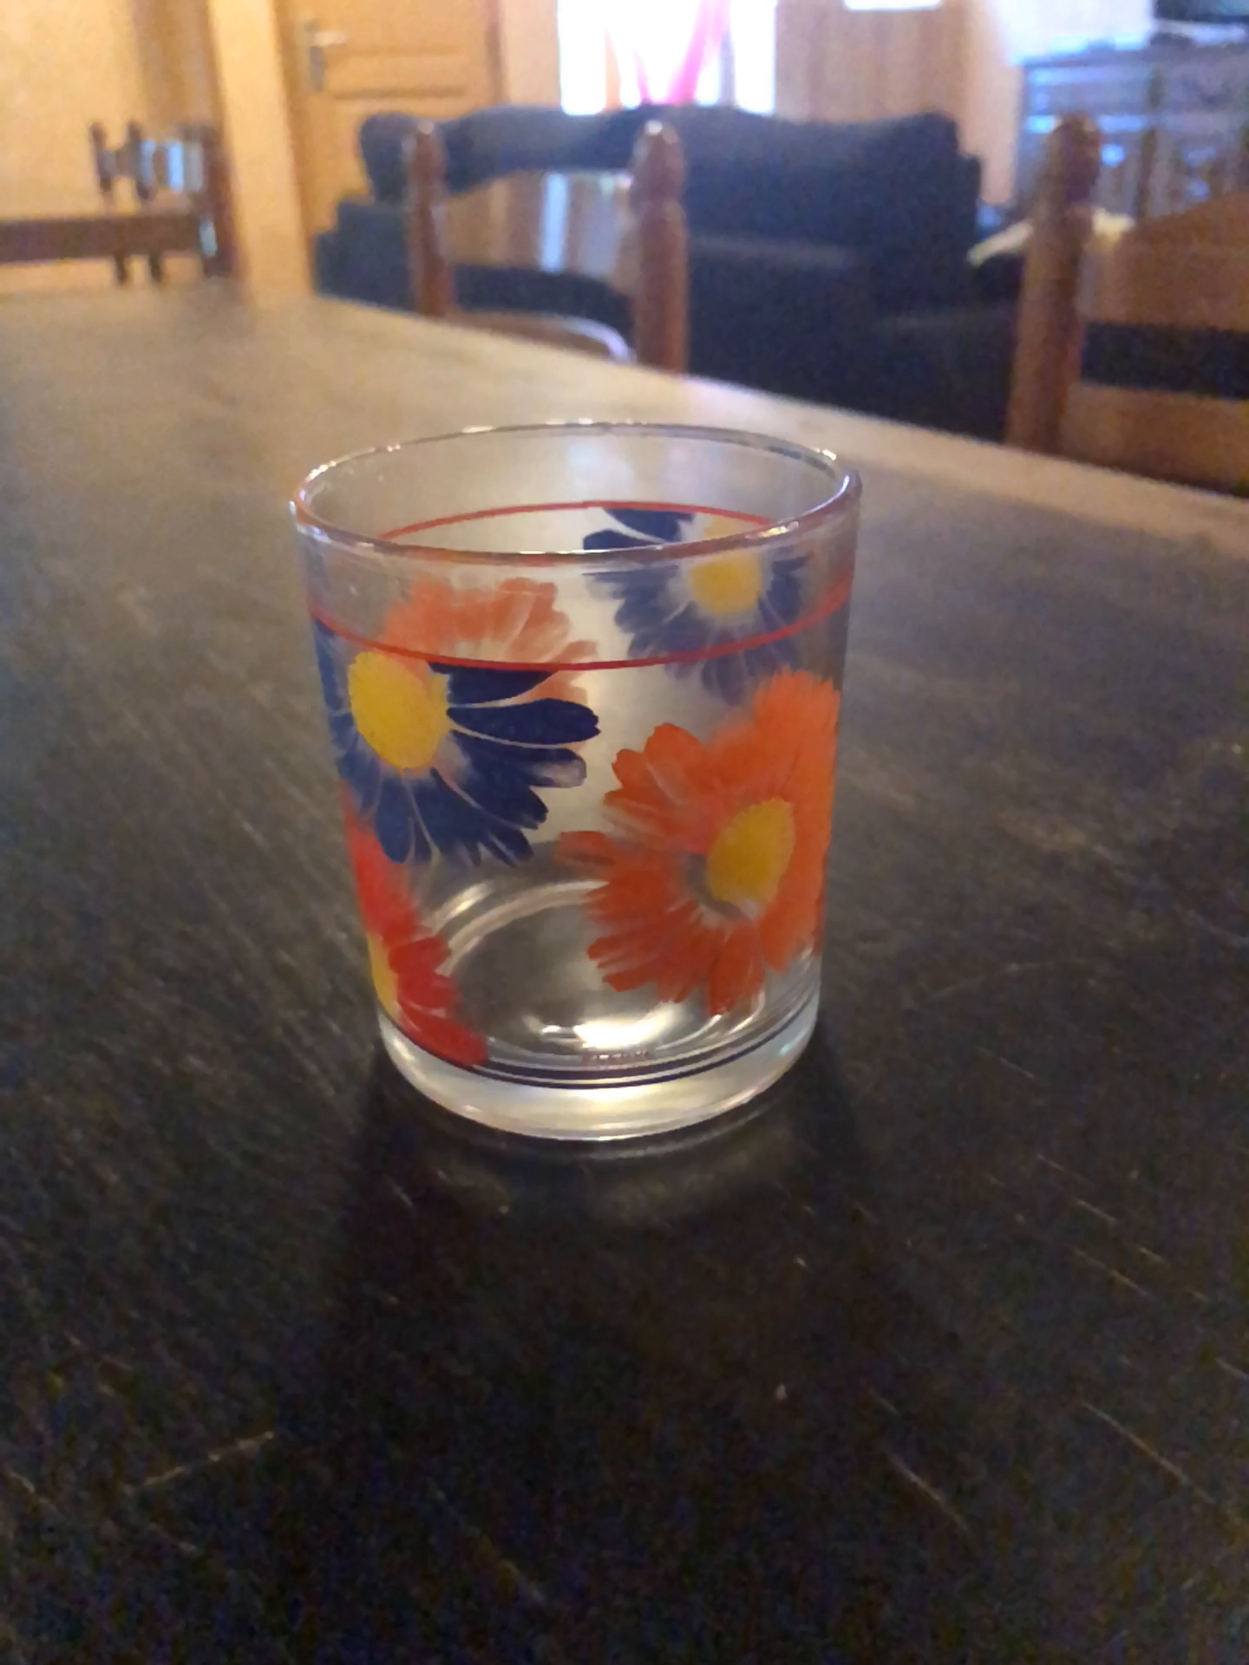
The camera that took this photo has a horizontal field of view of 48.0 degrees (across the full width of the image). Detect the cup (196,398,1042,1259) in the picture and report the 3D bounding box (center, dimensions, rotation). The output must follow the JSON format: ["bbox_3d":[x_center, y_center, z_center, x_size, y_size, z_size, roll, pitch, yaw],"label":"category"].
[{"bbox_3d":[-0.003,-0.010,0.194,0.078,0.079,0.076,-1,27,1],"label":"cup"}]
